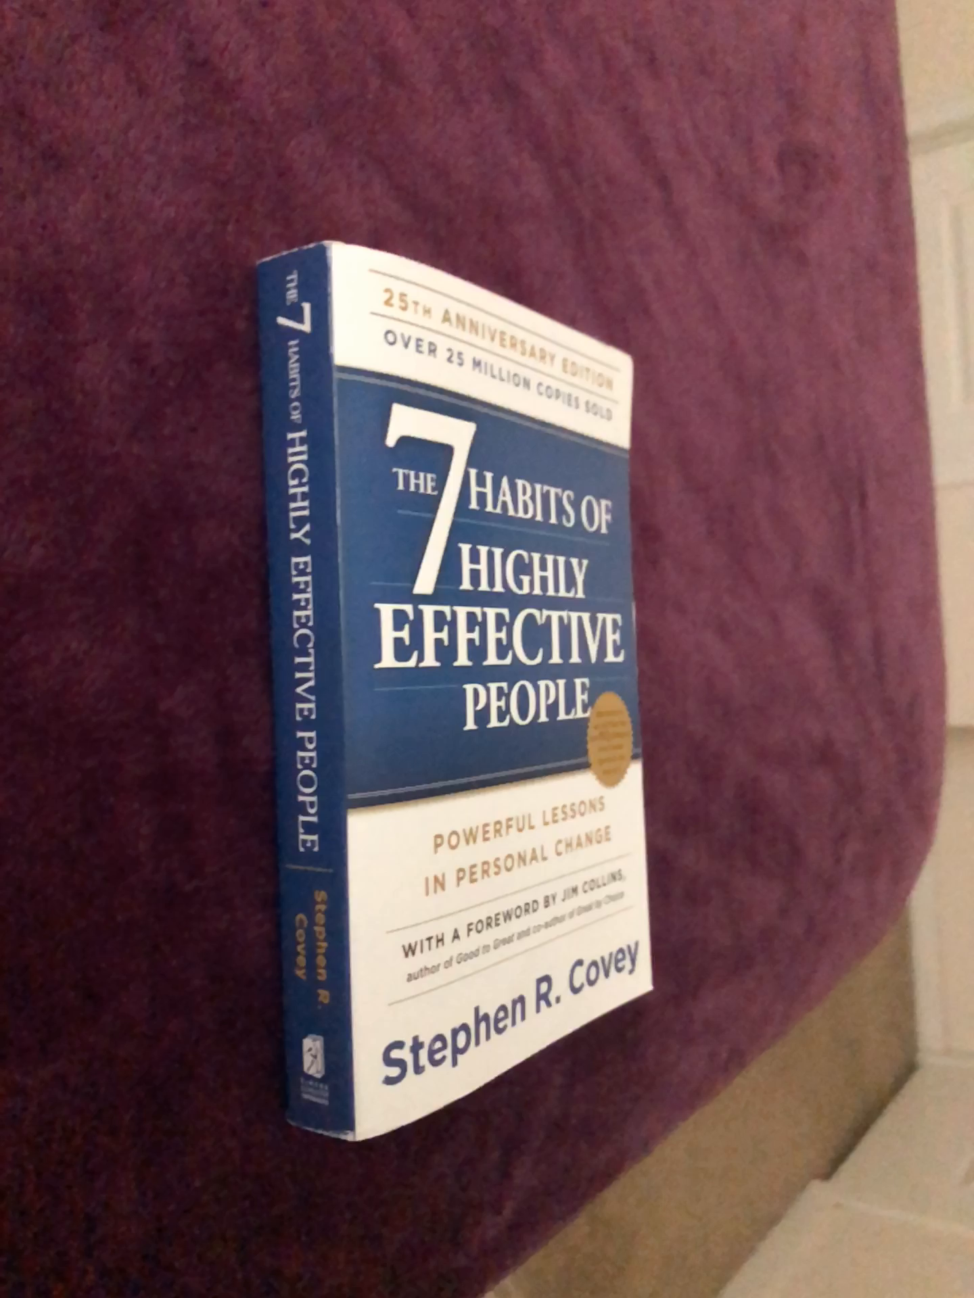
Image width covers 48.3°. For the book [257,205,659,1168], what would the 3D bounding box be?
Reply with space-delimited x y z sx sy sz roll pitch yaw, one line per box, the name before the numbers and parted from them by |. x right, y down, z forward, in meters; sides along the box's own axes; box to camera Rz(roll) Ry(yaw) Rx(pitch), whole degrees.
book | 0.001 0.008 0.313 0.148 0.028 0.217 0 88 -54
